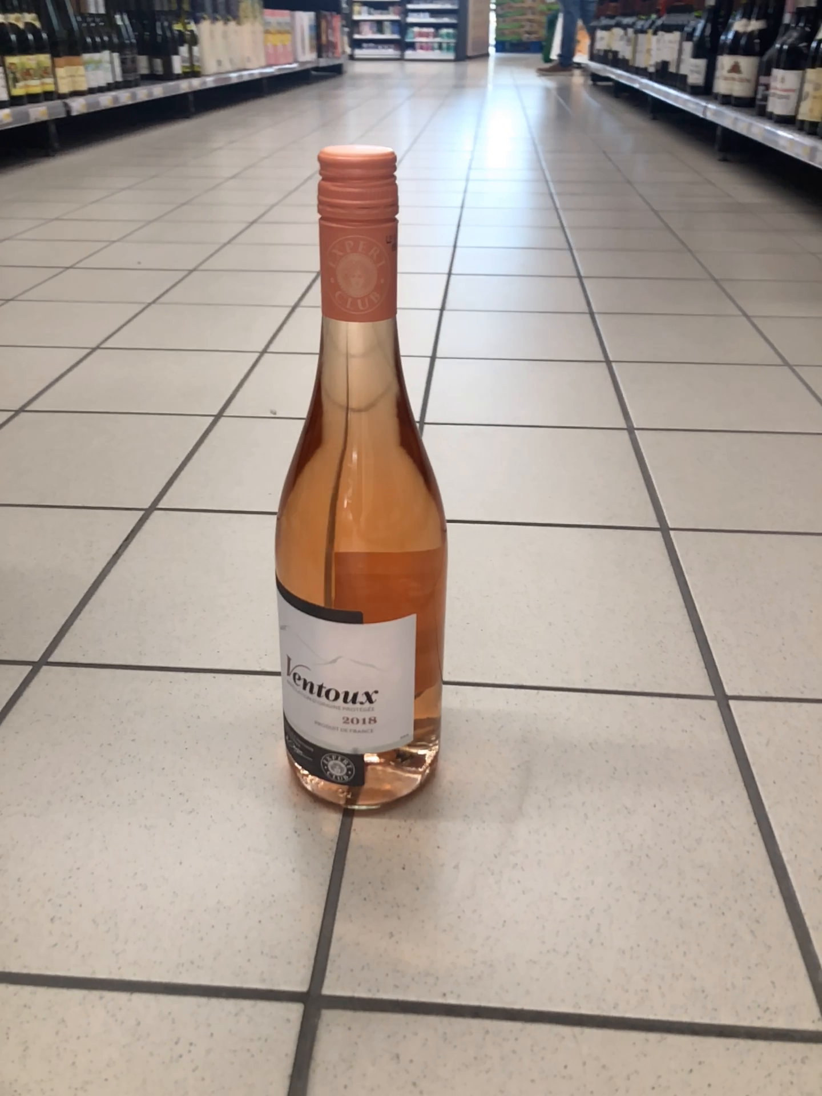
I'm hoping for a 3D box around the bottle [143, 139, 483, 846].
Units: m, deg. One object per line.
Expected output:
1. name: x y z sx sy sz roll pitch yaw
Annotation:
1. bottle: -0.033 -0.018 0.386 0.090 0.278 0.080 17 33 28
